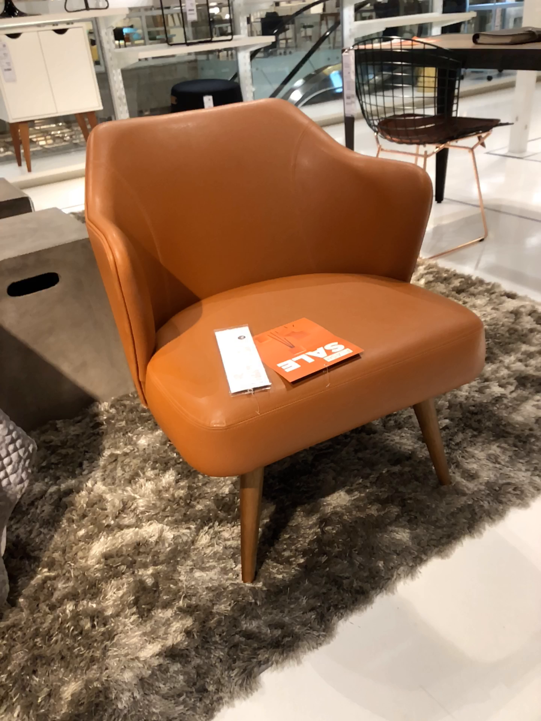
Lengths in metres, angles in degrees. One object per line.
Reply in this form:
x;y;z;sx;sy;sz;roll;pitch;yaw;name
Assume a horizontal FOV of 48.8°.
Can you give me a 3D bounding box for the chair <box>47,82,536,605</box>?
0.004;-0.120;1.191;0.591;0.705;0.654;-18;32;-22;chair
